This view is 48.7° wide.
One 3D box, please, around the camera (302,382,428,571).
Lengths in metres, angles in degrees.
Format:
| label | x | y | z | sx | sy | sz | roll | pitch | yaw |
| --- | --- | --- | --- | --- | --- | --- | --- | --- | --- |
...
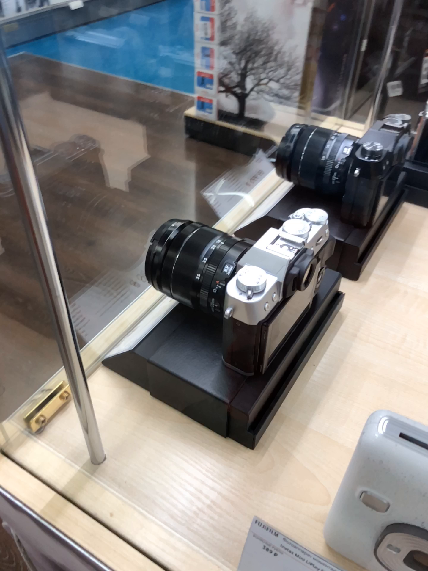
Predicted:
| label | x | y | z | sx | sy | sz | roll | pitch | yaw |
| --- | --- | --- | --- | --- | --- | --- | --- | --- | --- |
| camera | 0.103 | 0.115 | 0.235 | 0.094 | 0.110 | 0.039 | 22 | 46 | 21 |

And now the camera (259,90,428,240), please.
| label | x | y | z | sx | sy | sz | roll | pitch | yaw |
| --- | --- | --- | --- | --- | --- | --- | --- | --- | --- |
| camera | 0.138 | -0.133 | 0.497 | 0.130 | 0.080 | 0.124 | 26 | 47 | 24 |

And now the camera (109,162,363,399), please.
| label | x | y | z | sx | sy | sz | roll | pitch | yaw |
| --- | --- | --- | --- | --- | --- | --- | --- | --- | --- |
| camera | 0.017 | -0.013 | 0.354 | 0.130 | 0.080 | 0.124 | 26 | 47 | 24 |
